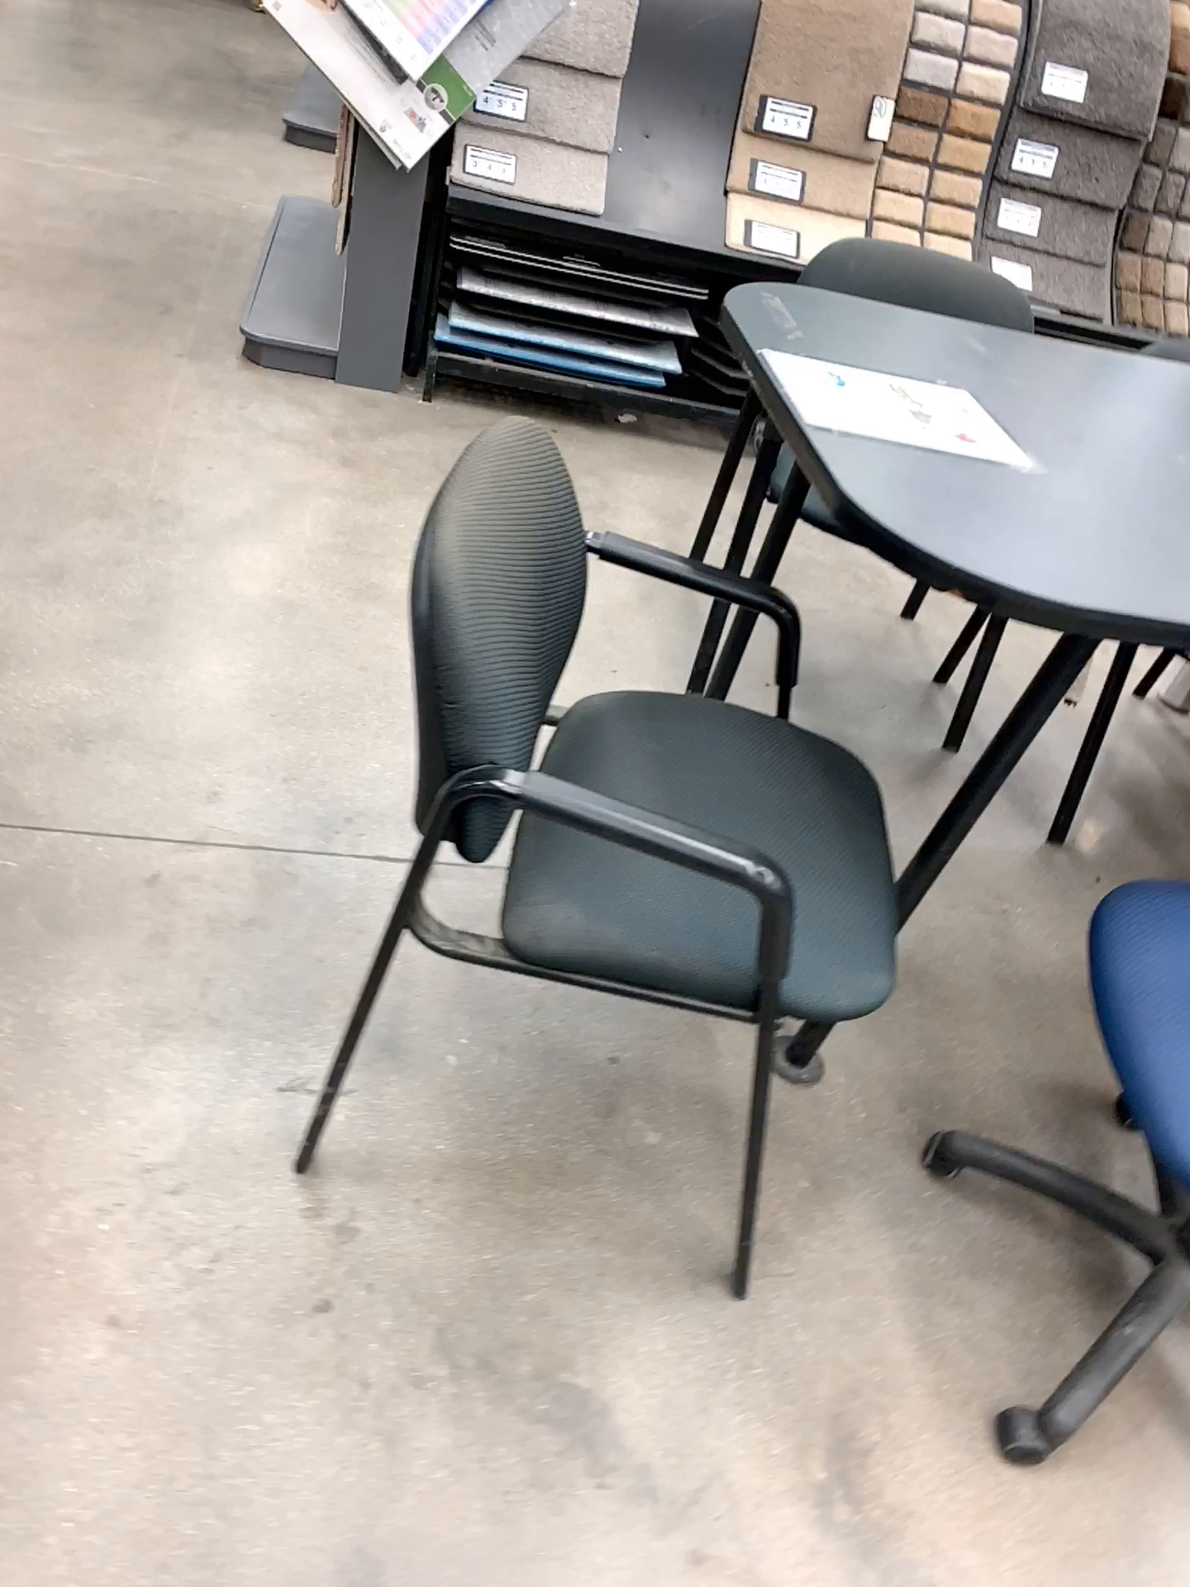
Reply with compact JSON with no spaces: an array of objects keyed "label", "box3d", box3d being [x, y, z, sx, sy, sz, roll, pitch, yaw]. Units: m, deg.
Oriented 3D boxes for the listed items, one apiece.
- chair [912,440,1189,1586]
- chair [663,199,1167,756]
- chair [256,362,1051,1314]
[{"label":"chair","box3d":[0.863,0.276,1.257,0.715,0.917,0.646,16,37,-1]},{"label":"chair","box3d":[0.543,-0.616,2.389,0.636,0.777,0.586,12,37,-5]},{"label":"chair","box3d":[0.028,0.046,1.383,0.584,0.750,0.607,15,37,-1]}]
